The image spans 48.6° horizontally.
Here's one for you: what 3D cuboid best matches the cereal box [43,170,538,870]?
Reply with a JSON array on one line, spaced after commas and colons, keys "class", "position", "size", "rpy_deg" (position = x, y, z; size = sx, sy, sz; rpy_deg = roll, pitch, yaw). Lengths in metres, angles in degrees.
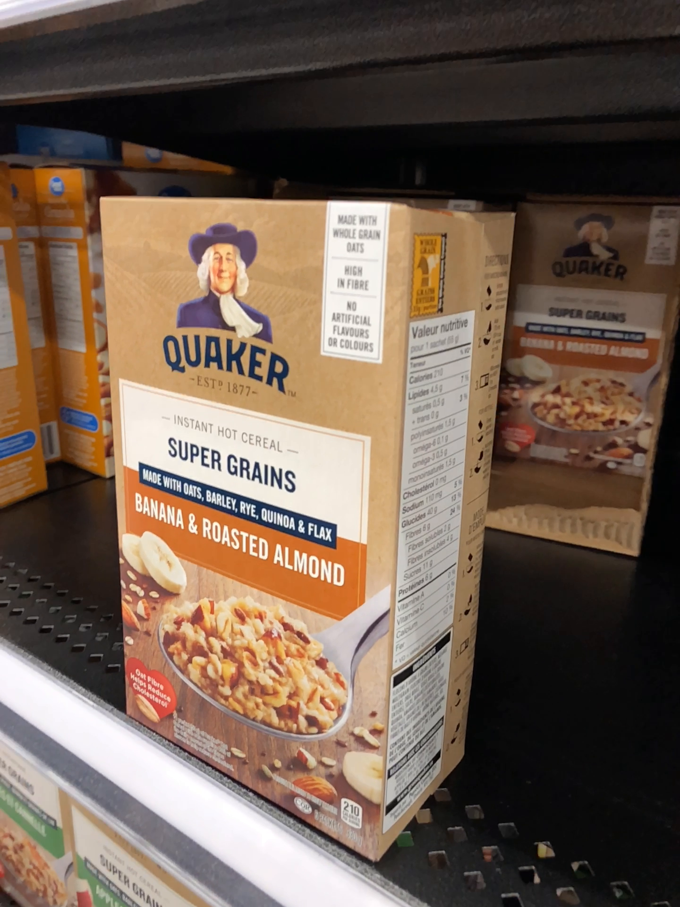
[{"class": "cereal box", "position": [-0.018, 0.008, 0.251], "size": [0.130, 0.189, 0.070], "rpy_deg": [13, 22, 33]}]
